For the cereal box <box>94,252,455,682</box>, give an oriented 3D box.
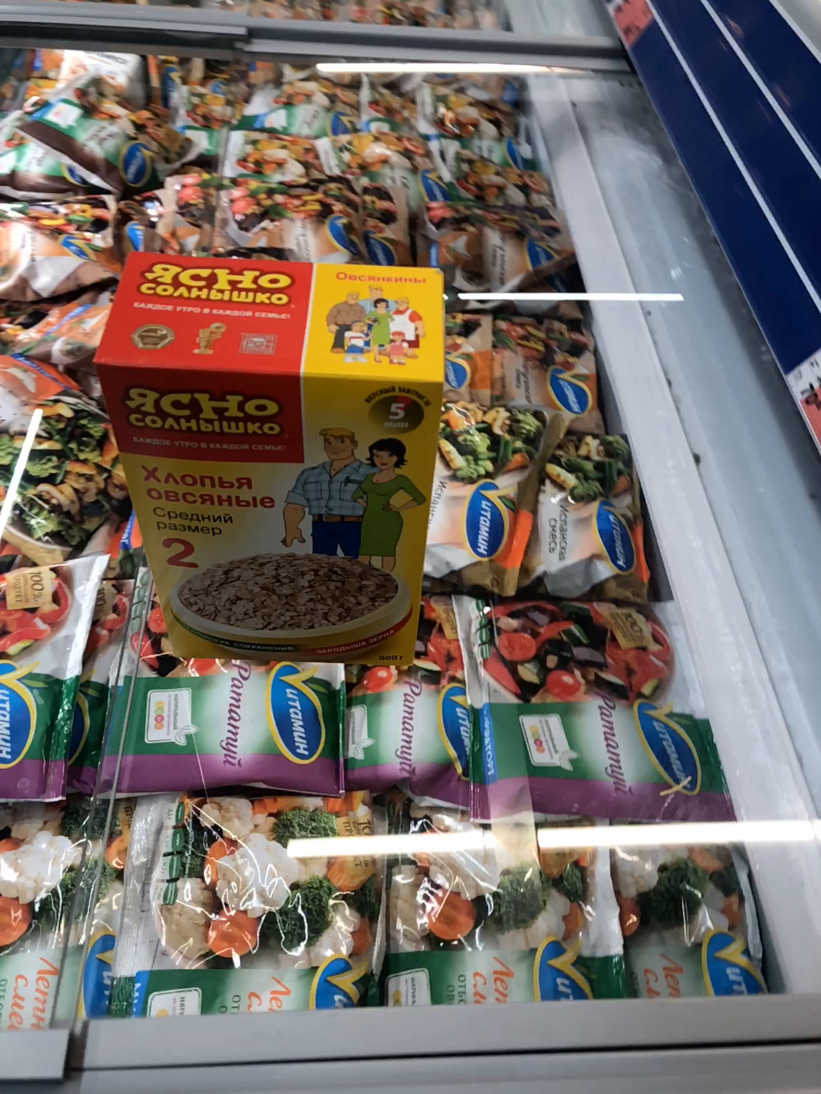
[{"bbox_3d":[-0.051,-0.022,0.402,0.120,0.199,0.070,2,52,-3],"label":"cereal box"}]
